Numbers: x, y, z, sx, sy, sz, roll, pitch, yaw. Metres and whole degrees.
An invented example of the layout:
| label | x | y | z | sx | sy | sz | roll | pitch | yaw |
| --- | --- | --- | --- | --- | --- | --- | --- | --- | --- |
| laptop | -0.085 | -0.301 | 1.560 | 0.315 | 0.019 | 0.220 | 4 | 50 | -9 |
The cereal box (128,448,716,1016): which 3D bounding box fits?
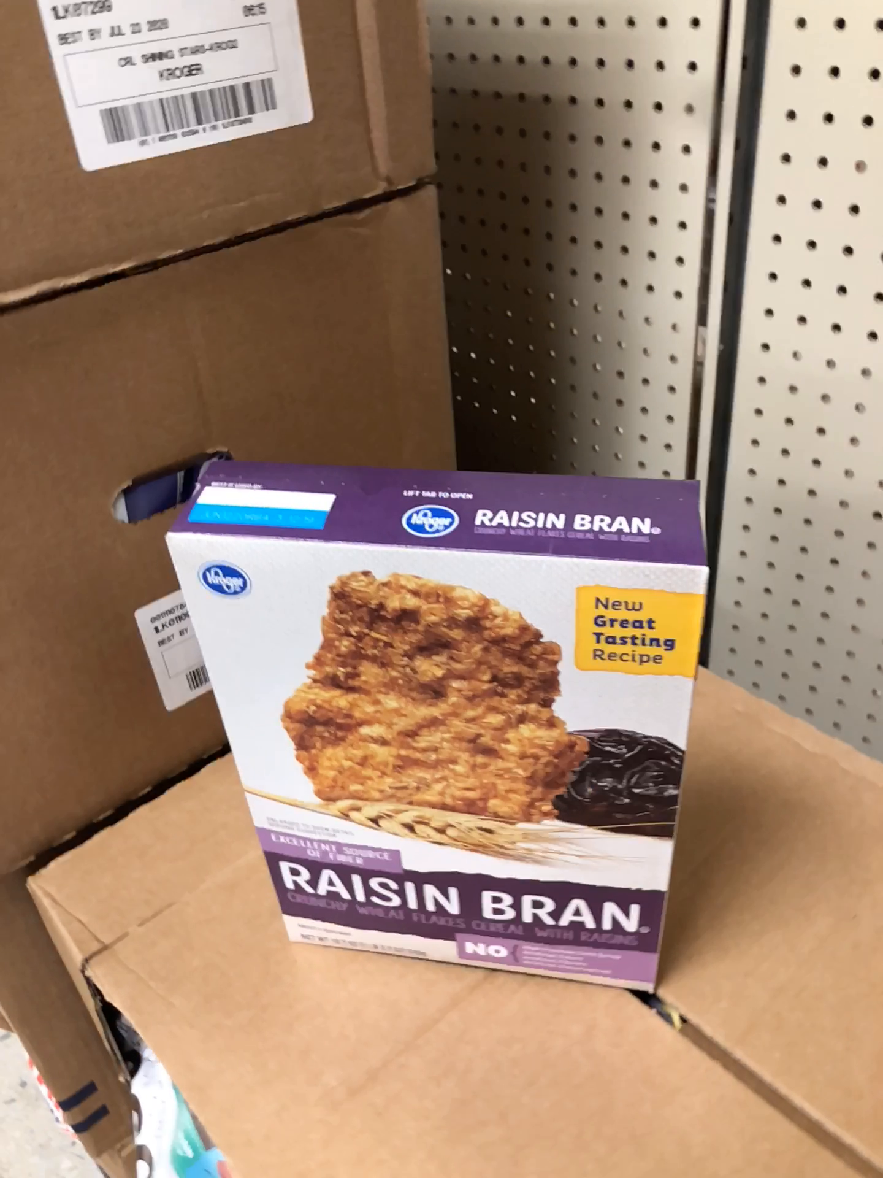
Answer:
| label | x | y | z | sx | sy | sz | roll | pitch | yaw |
| --- | --- | --- | --- | --- | --- | --- | --- | --- | --- |
| cereal box | 0.008 | 0.075 | 0.414 | 0.190 | 0.279 | 0.050 | 3 | 41 | 14 |
